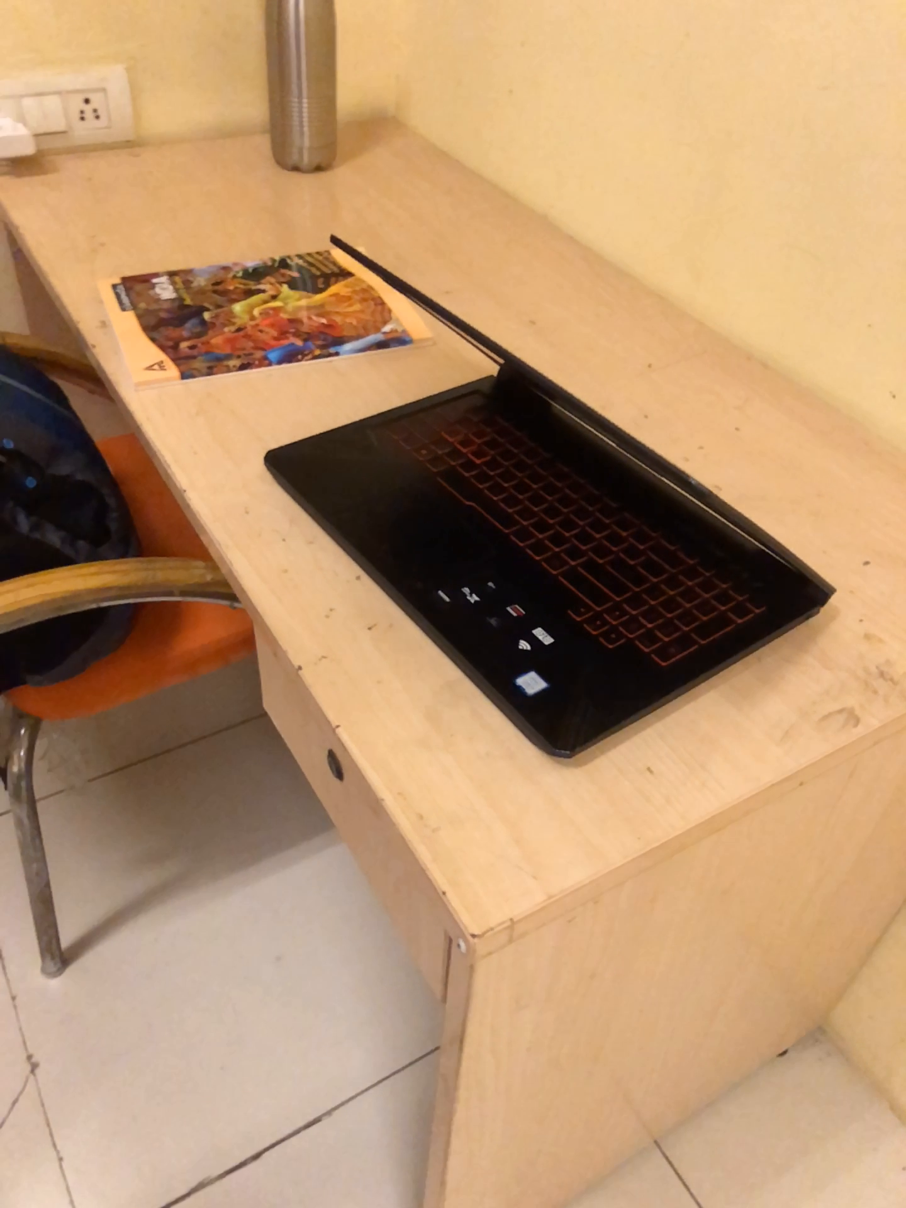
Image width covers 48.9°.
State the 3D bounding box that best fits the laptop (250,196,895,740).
[{"bbox_3d":[0.059,-0.129,0.723,0.252,0.173,0.370,-23,49,-28],"label":"laptop"}]
